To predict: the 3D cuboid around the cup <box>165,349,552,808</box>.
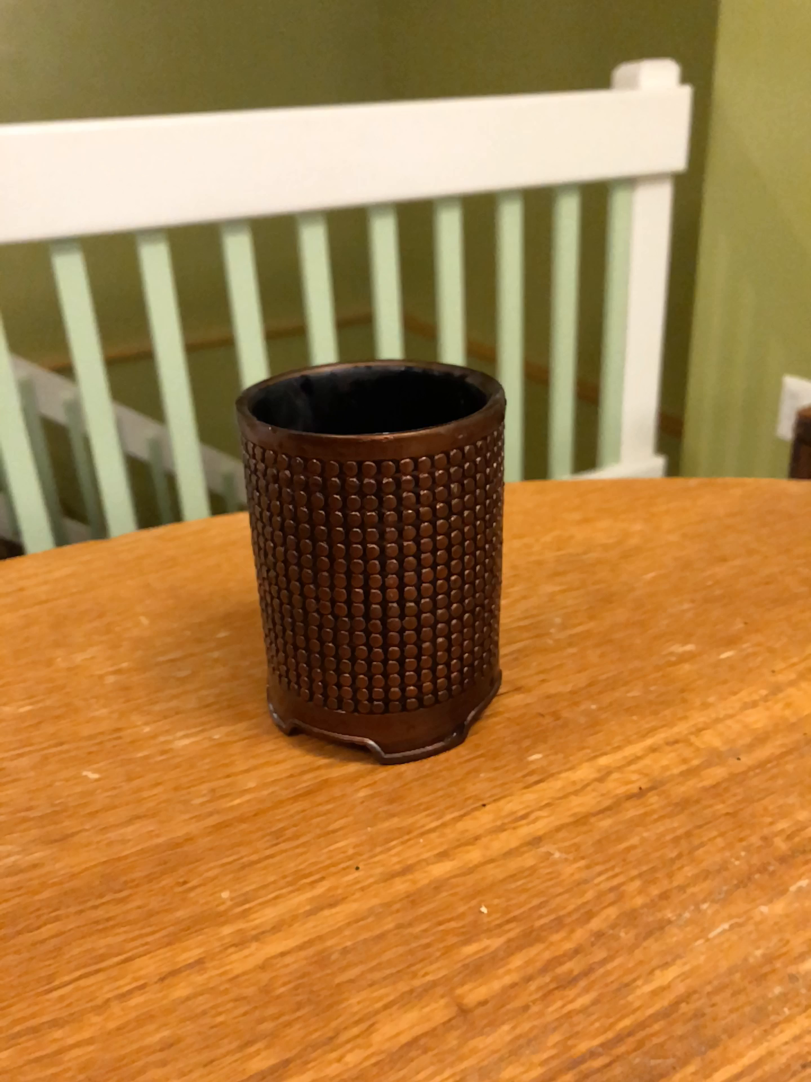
[{"bbox_3d":[-0.011,0.004,0.268,0.078,0.097,0.073,-2,25,1],"label":"cup"}]
